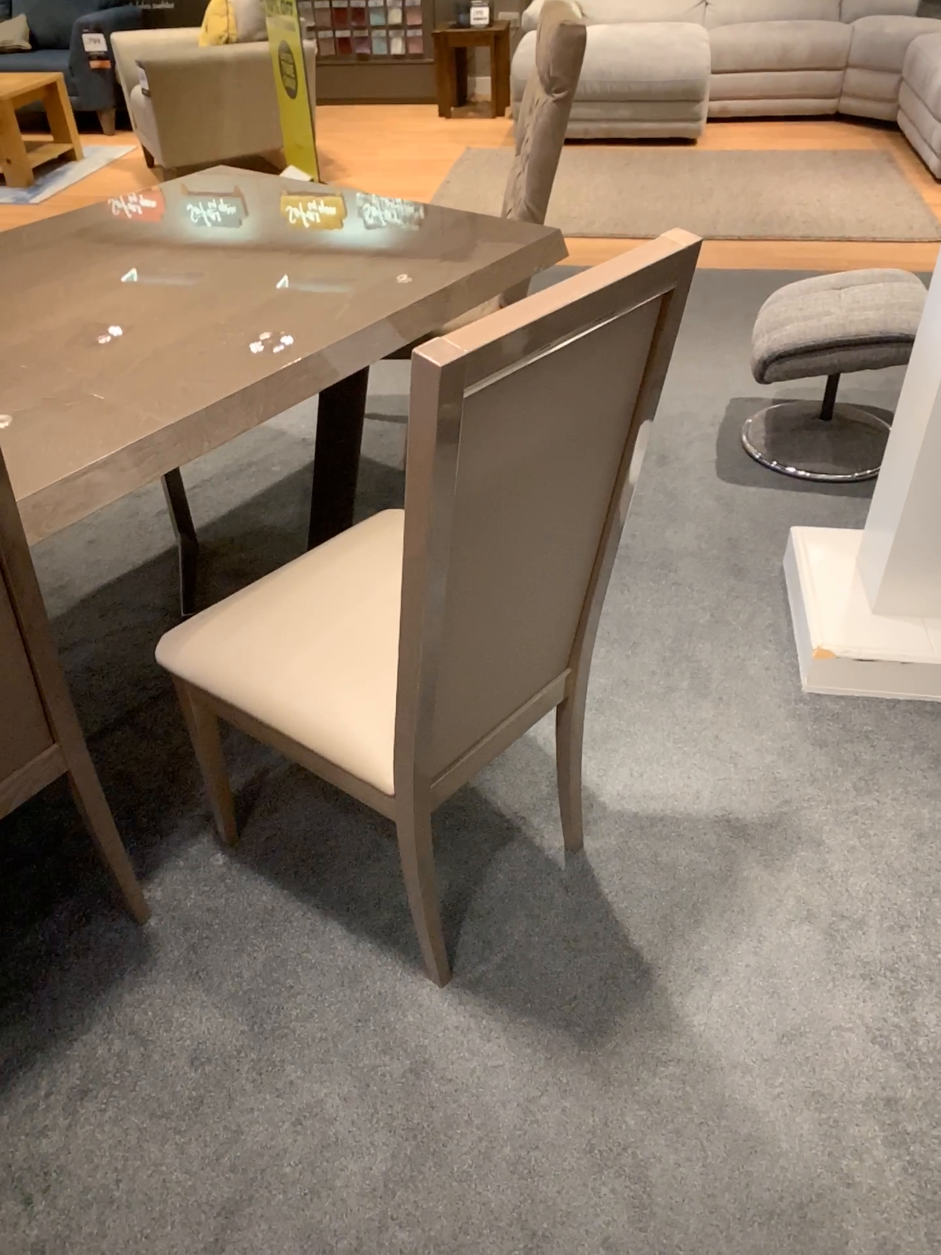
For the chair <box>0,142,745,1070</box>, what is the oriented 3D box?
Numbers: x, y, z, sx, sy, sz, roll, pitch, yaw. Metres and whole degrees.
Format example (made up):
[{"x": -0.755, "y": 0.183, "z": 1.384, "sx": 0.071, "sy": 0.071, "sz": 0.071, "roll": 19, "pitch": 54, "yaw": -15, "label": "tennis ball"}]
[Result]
[{"x": -0.090, "y": -0.040, "z": 1.267, "sx": 0.588, "sy": 0.946, "sz": 0.541, "roll": 24, "pitch": 46, "yaw": 31, "label": "chair"}]
